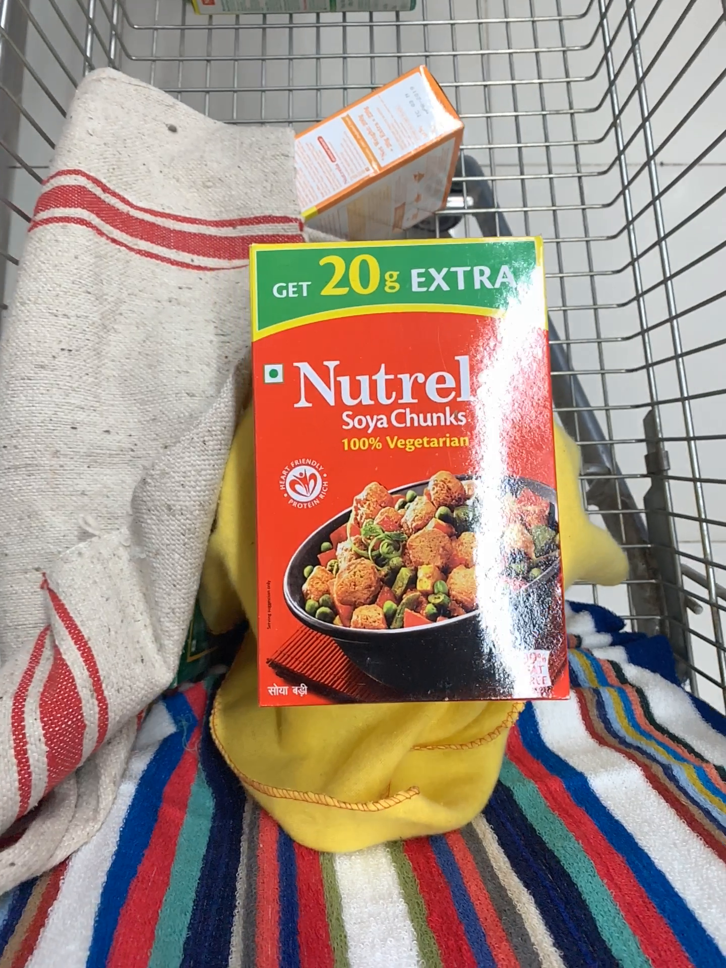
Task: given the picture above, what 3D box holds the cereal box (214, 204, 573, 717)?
[{"bbox_3d":[0.008,-0.008,0.294,0.120,0.060,0.180,-2,83,0],"label":"cereal box"}]
